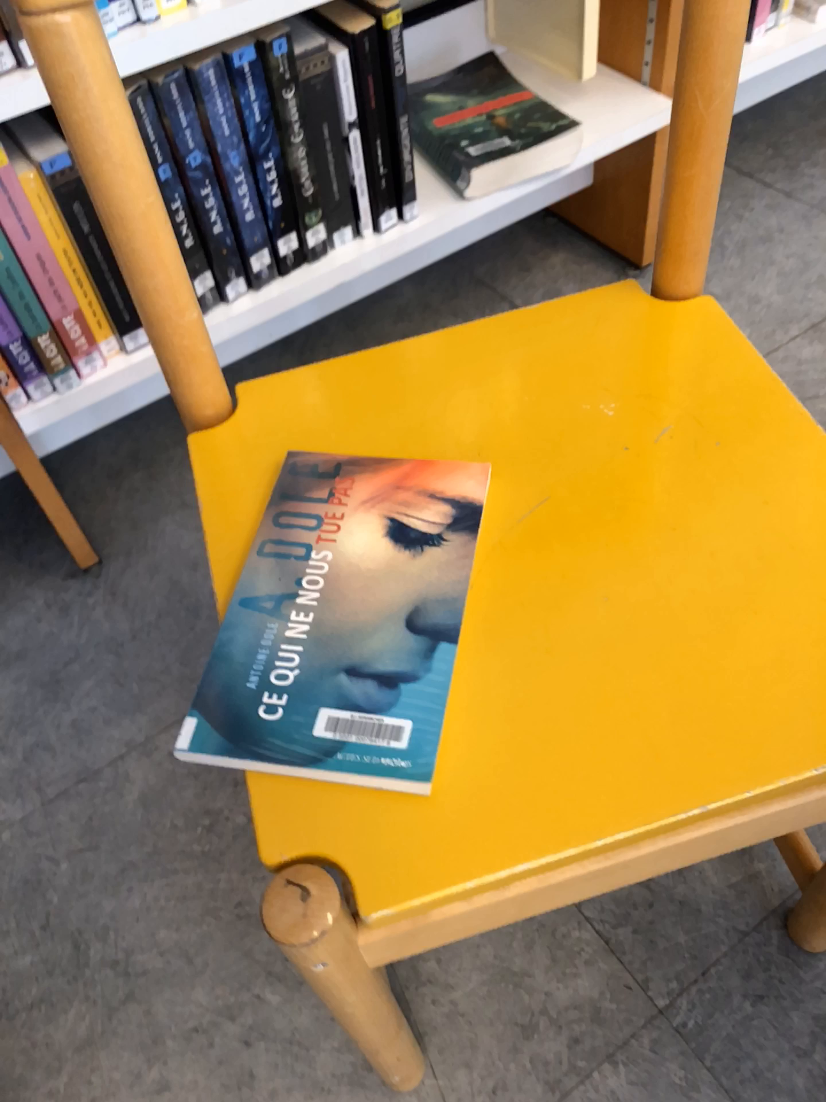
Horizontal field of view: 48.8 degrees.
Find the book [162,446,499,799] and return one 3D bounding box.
[{"bbox_3d":[-0.036,0.026,0.511,0.140,0.016,0.213,5,52,11],"label":"book"}]
